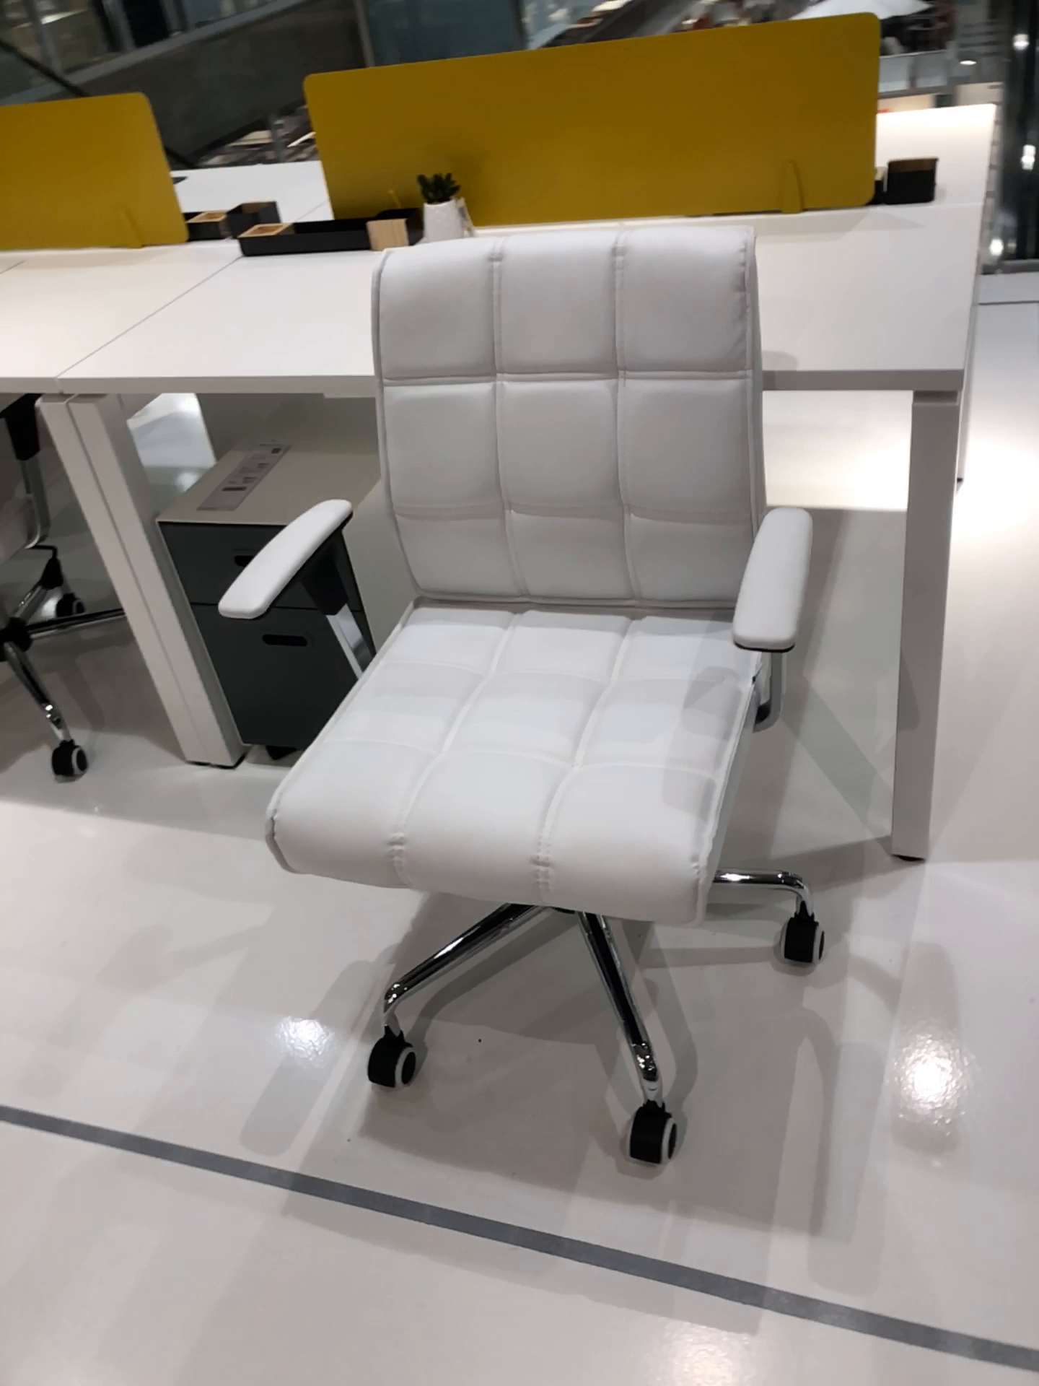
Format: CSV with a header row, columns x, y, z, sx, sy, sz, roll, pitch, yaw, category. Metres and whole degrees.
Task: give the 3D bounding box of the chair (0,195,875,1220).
x,y,z,sx,sy,sz,roll,pitch,yaw,category
0.040,0.007,1.309,0.650,0.883,0.635,3,38,18,chair
